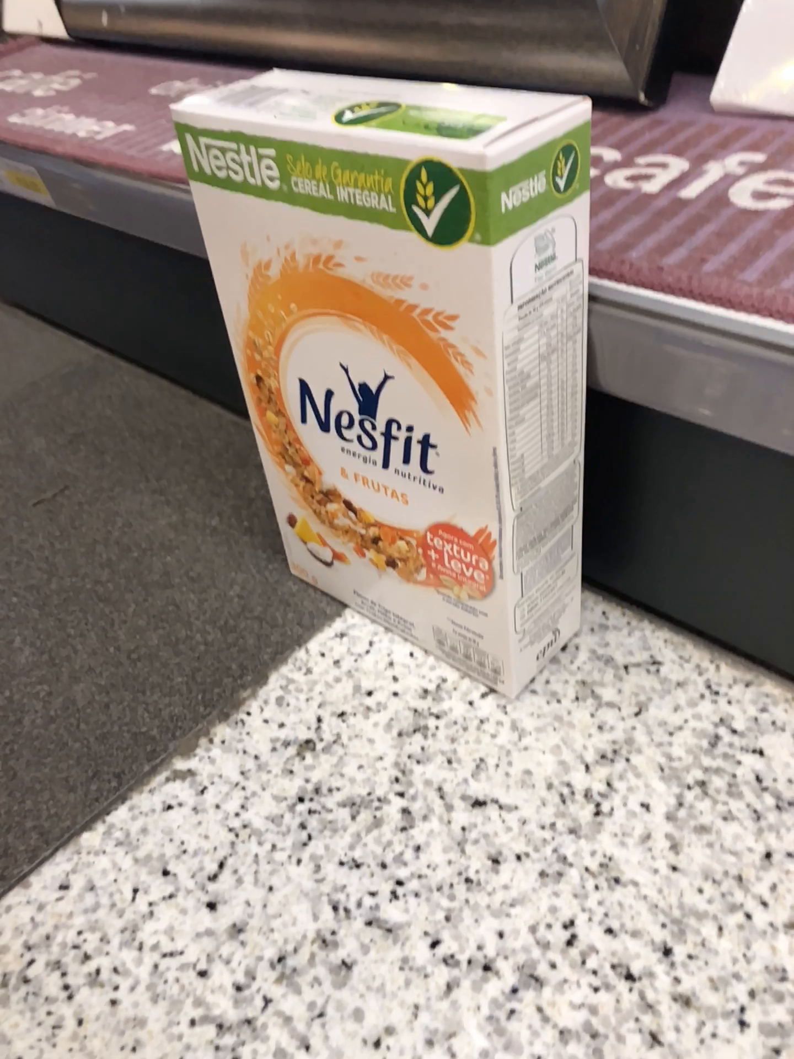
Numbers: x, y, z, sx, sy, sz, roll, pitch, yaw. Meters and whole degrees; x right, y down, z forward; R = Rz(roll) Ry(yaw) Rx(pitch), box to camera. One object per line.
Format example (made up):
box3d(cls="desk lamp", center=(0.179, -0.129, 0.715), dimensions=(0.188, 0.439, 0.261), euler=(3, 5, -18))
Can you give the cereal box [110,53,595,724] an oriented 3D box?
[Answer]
box3d(cls="cereal box", center=(-0.007, -0.054, 0.374), dimensions=(0.171, 0.248, 0.060), euler=(25, 51, 35))
